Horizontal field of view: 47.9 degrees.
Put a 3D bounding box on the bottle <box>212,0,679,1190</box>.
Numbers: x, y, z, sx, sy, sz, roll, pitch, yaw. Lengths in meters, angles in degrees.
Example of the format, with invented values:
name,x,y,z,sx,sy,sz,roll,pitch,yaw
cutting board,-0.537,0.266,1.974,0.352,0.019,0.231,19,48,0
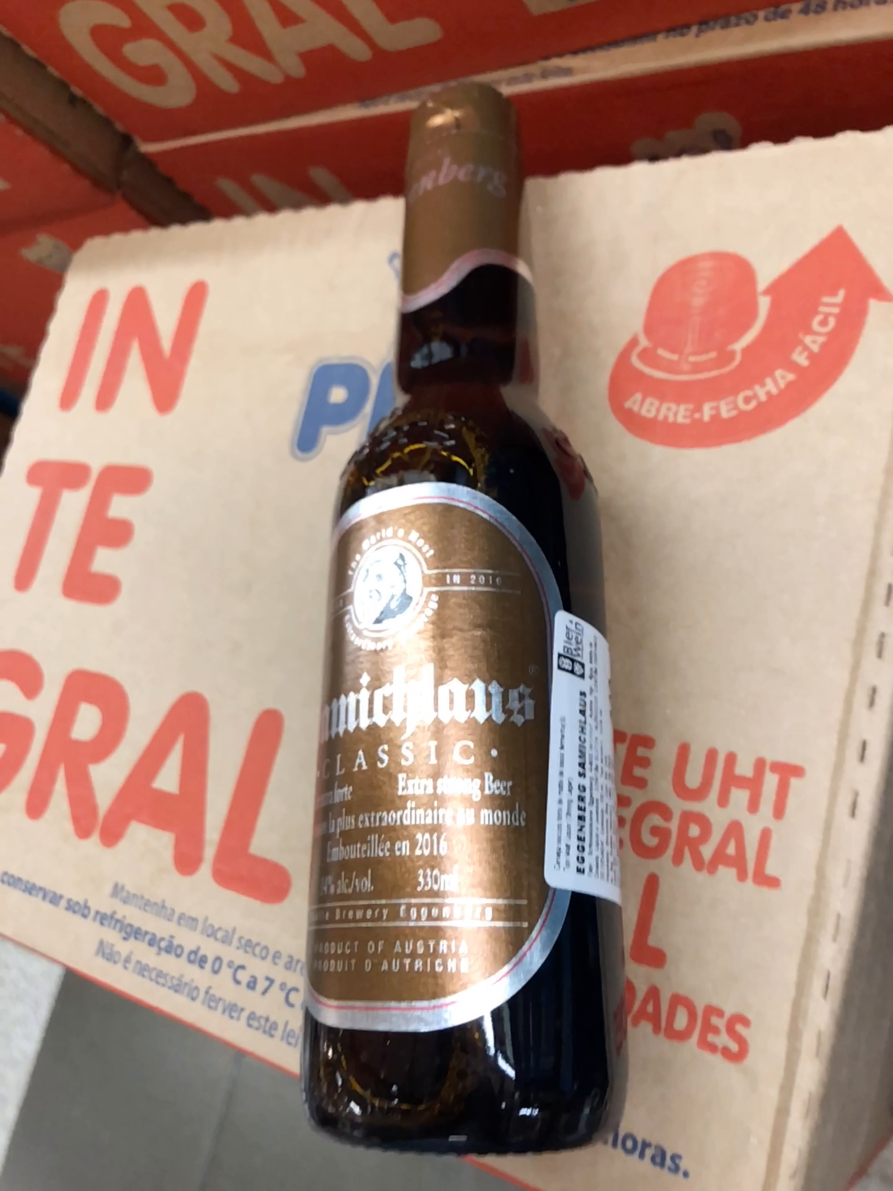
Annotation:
name,x,y,z,sx,sy,sz,roll,pitch,yaw
bottle,0.001,-0.026,0.210,0.060,0.050,0.250,-12,67,27
